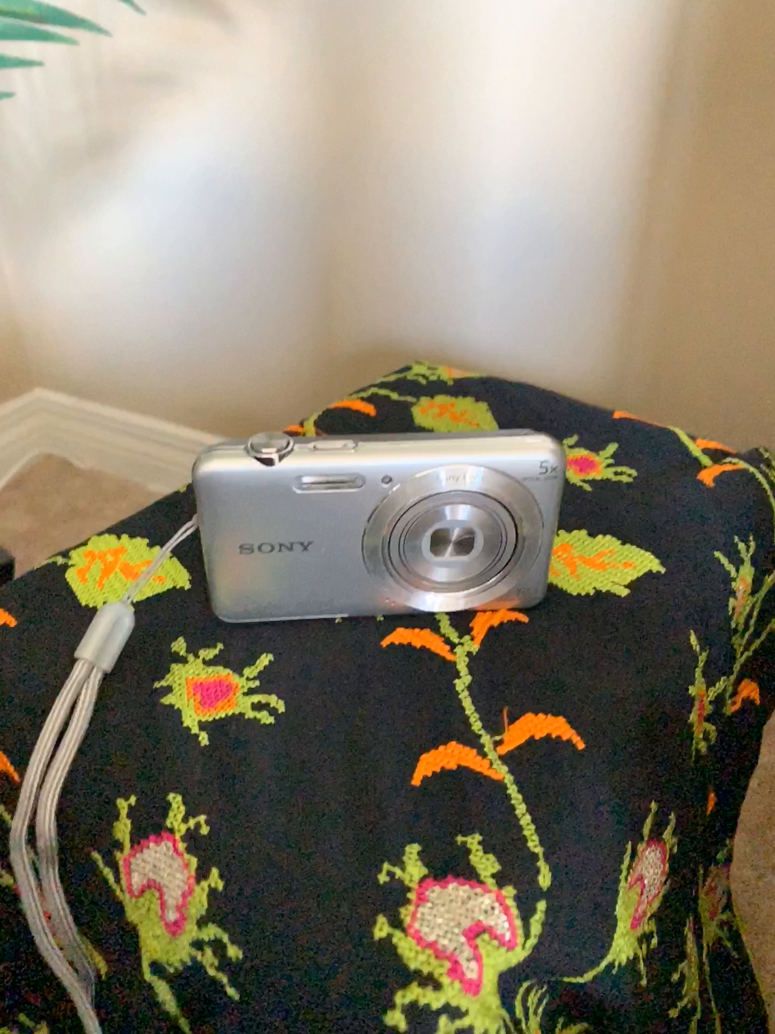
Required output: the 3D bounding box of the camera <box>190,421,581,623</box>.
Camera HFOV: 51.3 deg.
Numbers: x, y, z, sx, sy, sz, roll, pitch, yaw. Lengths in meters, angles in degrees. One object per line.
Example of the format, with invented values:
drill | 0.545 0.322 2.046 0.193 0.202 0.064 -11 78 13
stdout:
camera | -0.001 0.001 0.197 0.086 0.042 0.020 -2 33 -4
